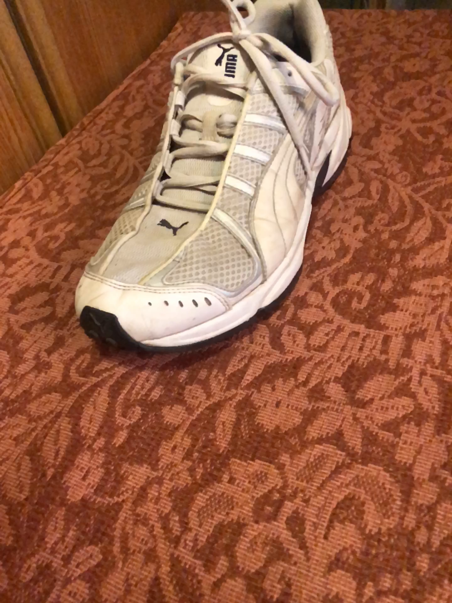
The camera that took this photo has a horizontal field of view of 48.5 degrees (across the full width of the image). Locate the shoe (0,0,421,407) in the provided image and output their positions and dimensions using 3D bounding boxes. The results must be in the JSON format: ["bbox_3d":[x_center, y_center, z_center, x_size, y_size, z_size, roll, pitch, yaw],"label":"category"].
[{"bbox_3d":[0.012,-0.101,0.301,0.120,0.100,0.291,16,52,25],"label":"shoe"}]
